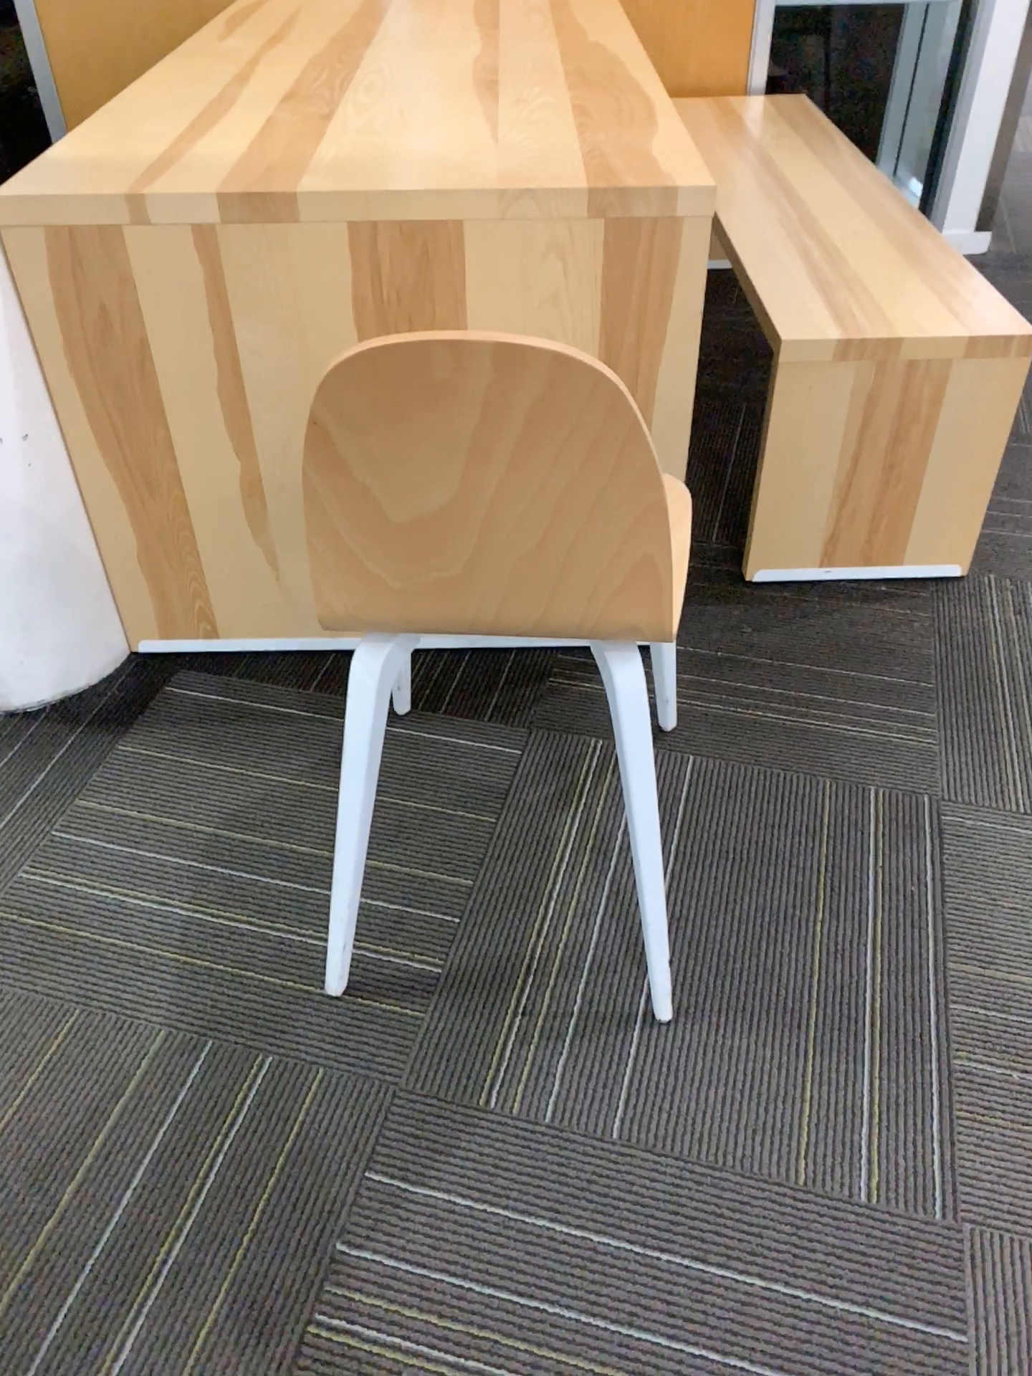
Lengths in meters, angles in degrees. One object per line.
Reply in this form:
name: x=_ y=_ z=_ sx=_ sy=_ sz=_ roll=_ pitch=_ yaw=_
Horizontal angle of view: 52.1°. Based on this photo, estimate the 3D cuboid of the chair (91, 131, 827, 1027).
chair: x=-0.018 y=-0.107 z=1.185 sx=0.500 sy=0.815 sz=0.553 roll=2 pitch=40 yaw=4
